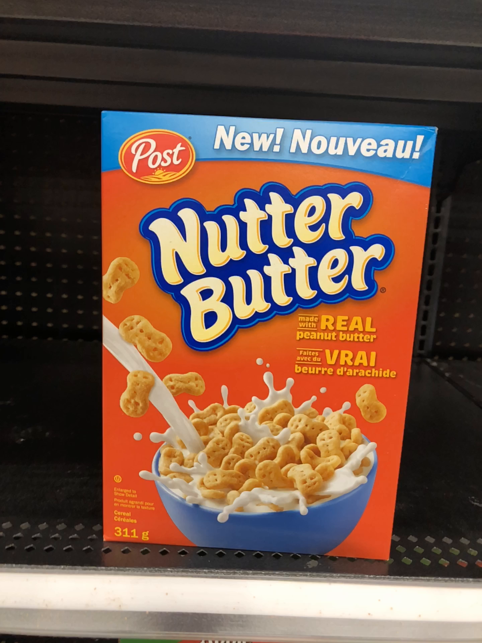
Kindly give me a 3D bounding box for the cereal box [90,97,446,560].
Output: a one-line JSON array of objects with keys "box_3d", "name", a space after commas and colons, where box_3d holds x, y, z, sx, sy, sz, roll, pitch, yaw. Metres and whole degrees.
[{"box_3d": [0.008, 0.008, 0.357, 0.200, 0.279, 0.060, 3, 11, 2], "name": "cereal box"}]
